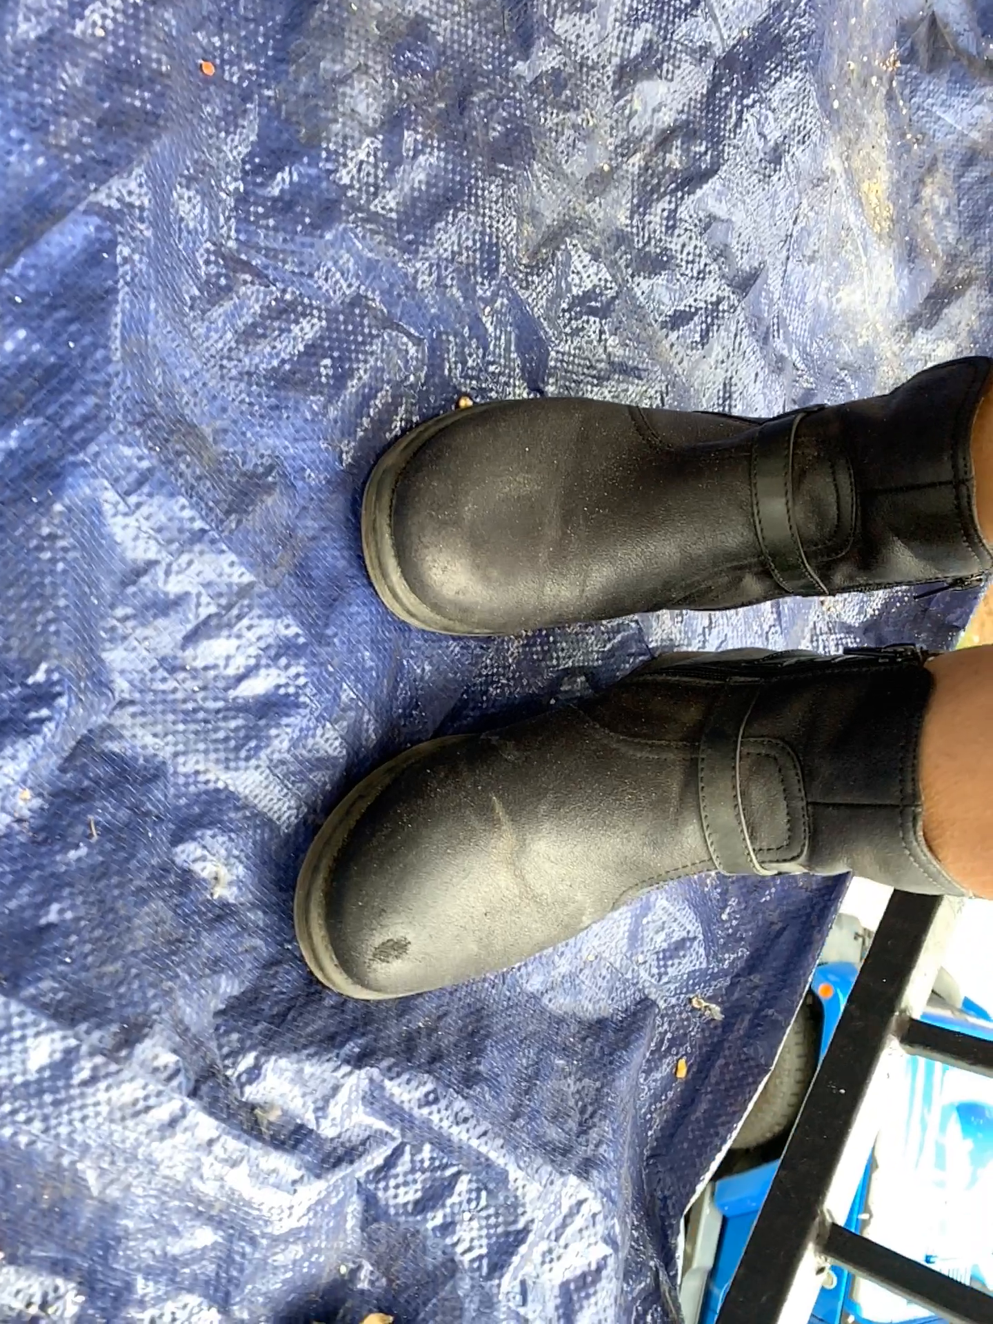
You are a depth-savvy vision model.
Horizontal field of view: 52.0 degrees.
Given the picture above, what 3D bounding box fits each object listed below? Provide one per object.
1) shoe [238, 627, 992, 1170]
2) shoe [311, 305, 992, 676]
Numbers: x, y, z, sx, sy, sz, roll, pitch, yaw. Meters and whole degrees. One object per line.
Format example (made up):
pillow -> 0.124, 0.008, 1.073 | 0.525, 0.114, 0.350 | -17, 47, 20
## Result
shoe -> 0.064, 0.053, 0.374 | 0.282, 0.109, 0.110 | -7, 96, -41
shoe -> 0.082, -0.055, 0.418 | 0.282, 0.129, 0.100 | -4, 94, -41
